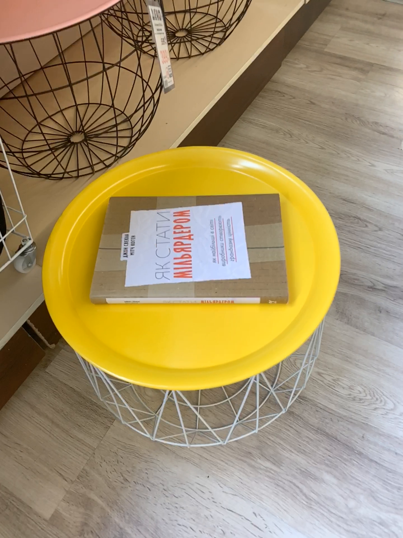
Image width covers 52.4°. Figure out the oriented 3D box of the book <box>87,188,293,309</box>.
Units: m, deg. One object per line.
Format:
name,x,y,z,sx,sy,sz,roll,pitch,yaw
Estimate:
book,-0.014,-0.031,0.522,0.236,0.020,0.171,-2,56,3
